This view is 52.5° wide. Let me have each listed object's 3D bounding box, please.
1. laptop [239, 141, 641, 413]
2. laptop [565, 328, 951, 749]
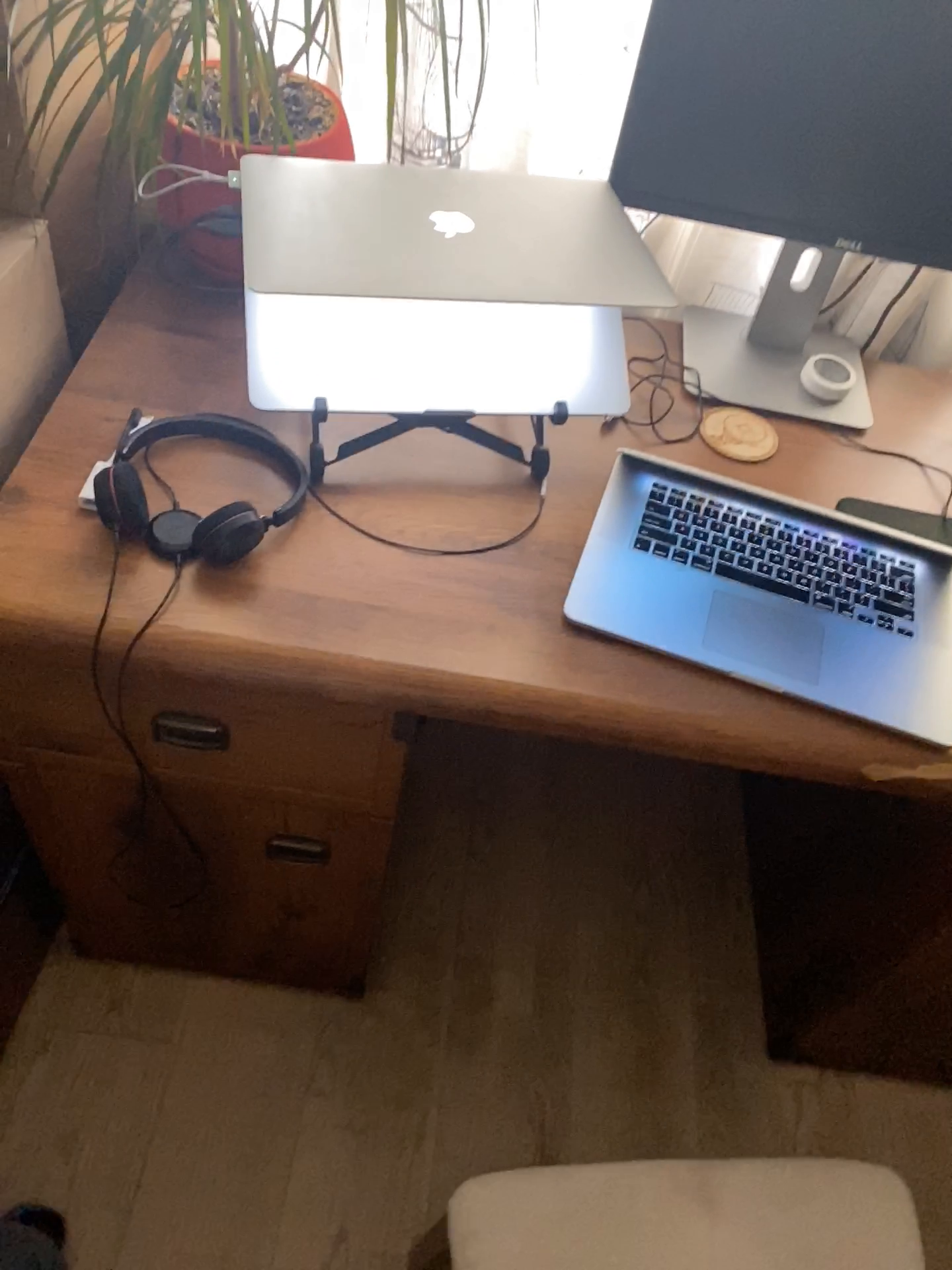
[{"bbox_3d":[-0.033,-0.329,0.895,0.355,0.022,0.243,-2,76,-12],"label":"laptop"},{"bbox_3d":[0.293,-0.093,0.858,0.355,0.152,0.236,19,51,5],"label":"laptop"}]
